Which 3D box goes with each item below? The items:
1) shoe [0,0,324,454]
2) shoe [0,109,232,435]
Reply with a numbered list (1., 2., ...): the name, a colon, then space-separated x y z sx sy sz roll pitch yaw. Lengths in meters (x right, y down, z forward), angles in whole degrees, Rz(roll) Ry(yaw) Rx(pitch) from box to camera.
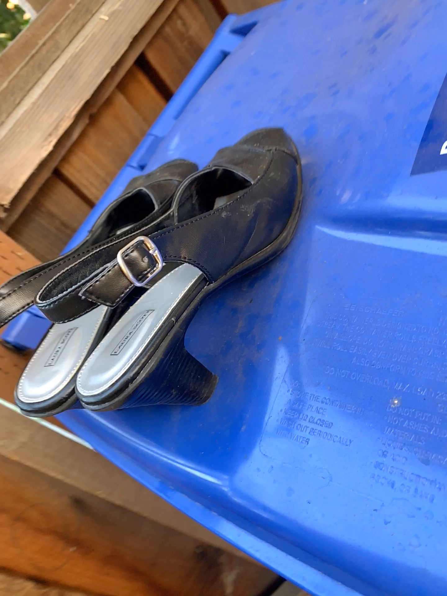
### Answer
1. shoe: -0.023 -0.051 0.284 0.091 0.099 0.251 -8 50 38
2. shoe: -0.075 -0.034 0.352 0.090 0.089 0.251 -7 42 23
